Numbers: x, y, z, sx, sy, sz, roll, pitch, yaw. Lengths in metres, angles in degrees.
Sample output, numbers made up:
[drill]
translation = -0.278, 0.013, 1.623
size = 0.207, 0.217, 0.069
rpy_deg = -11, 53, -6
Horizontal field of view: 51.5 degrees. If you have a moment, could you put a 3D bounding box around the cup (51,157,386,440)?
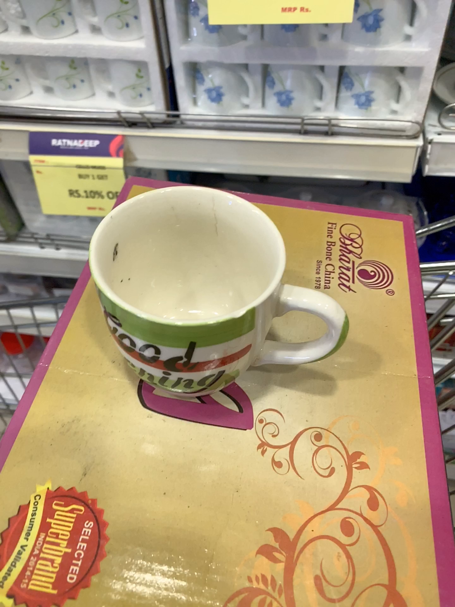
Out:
[cup]
translation = 0.001, -0.006, 0.203
size = 0.110, 0.060, 0.080
rpy_deg = 14, 48, 10
